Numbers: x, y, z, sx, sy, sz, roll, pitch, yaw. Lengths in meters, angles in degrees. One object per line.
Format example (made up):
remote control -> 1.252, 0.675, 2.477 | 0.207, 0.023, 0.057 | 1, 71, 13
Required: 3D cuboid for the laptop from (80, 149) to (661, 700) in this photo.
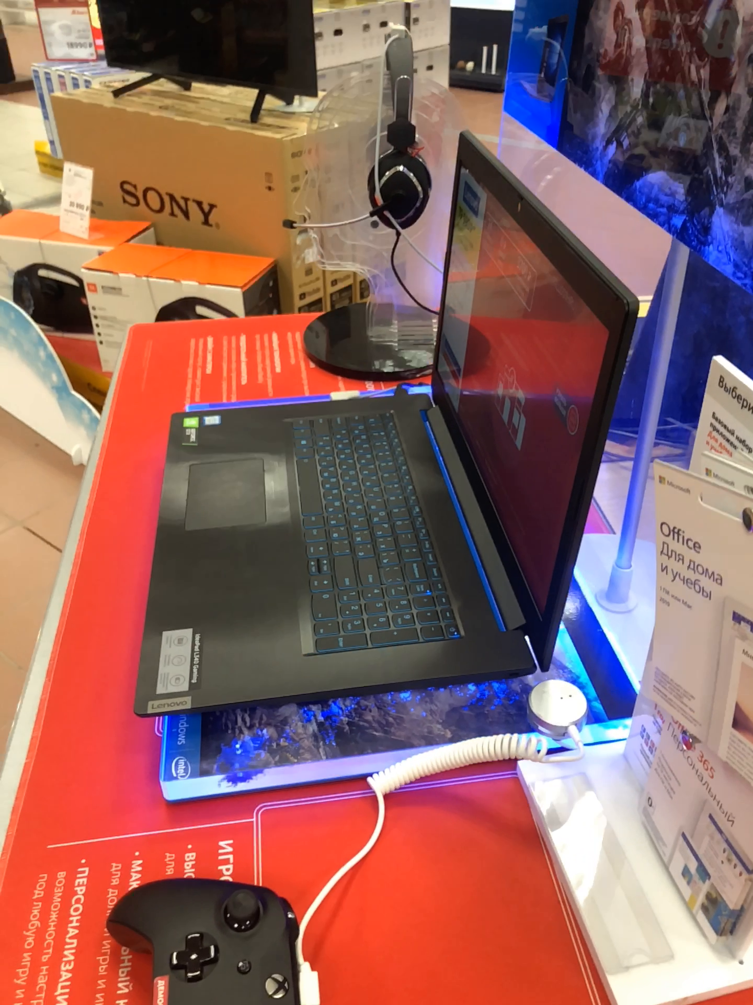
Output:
laptop -> -0.026, -0.096, 0.660 | 0.294, 0.255, 0.406 | -5, 33, -4
